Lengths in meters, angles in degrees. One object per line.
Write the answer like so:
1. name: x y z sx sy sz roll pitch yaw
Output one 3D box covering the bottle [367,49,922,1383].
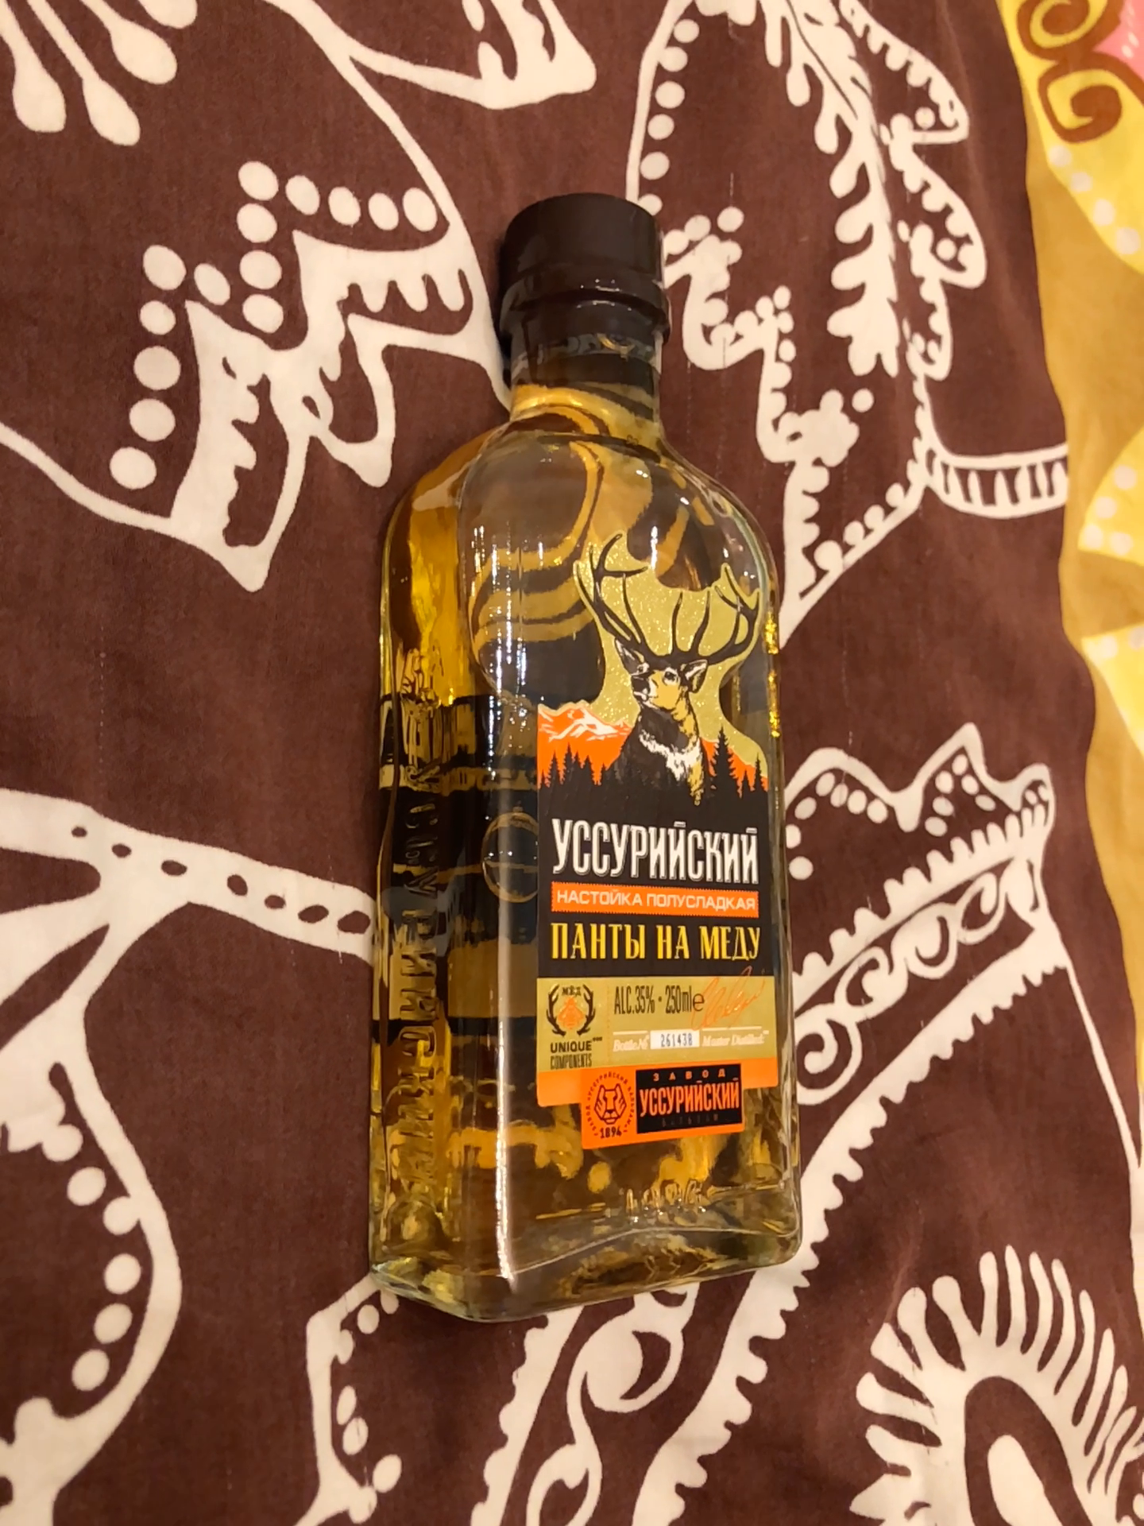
1. bottle: 0.008 -0.009 0.216 0.070 0.050 0.190 6 76 -35
